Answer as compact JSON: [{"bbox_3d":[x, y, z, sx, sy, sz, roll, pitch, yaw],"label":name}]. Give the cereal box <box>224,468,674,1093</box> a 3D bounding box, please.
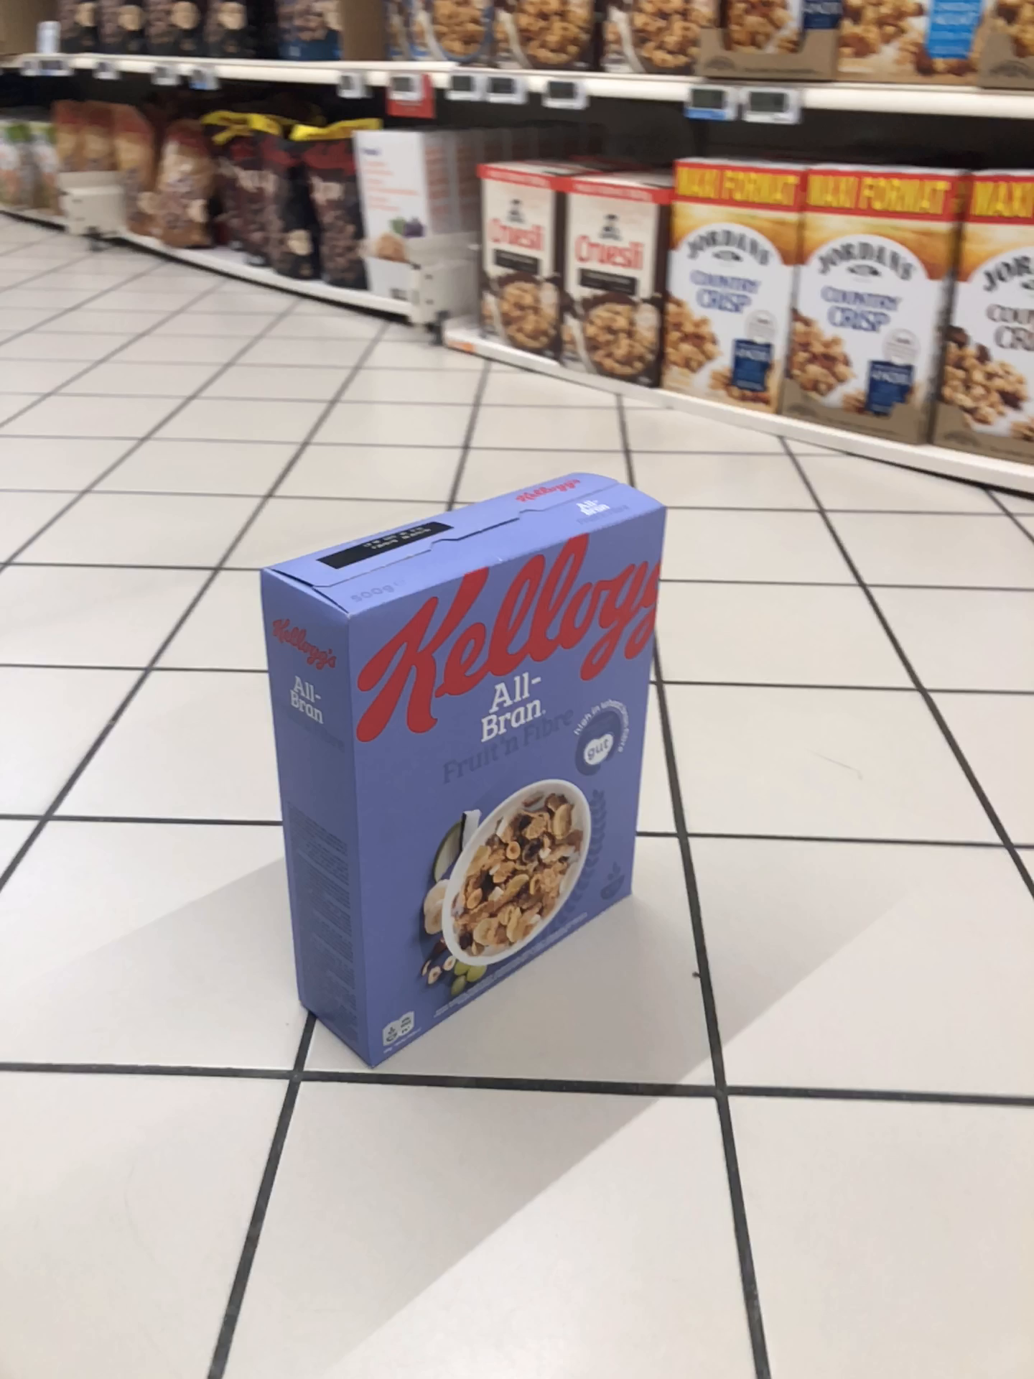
[{"bbox_3d":[-0.023,0.036,0.555,0.201,0.239,0.070,-24,37,-38],"label":"cereal box"}]
